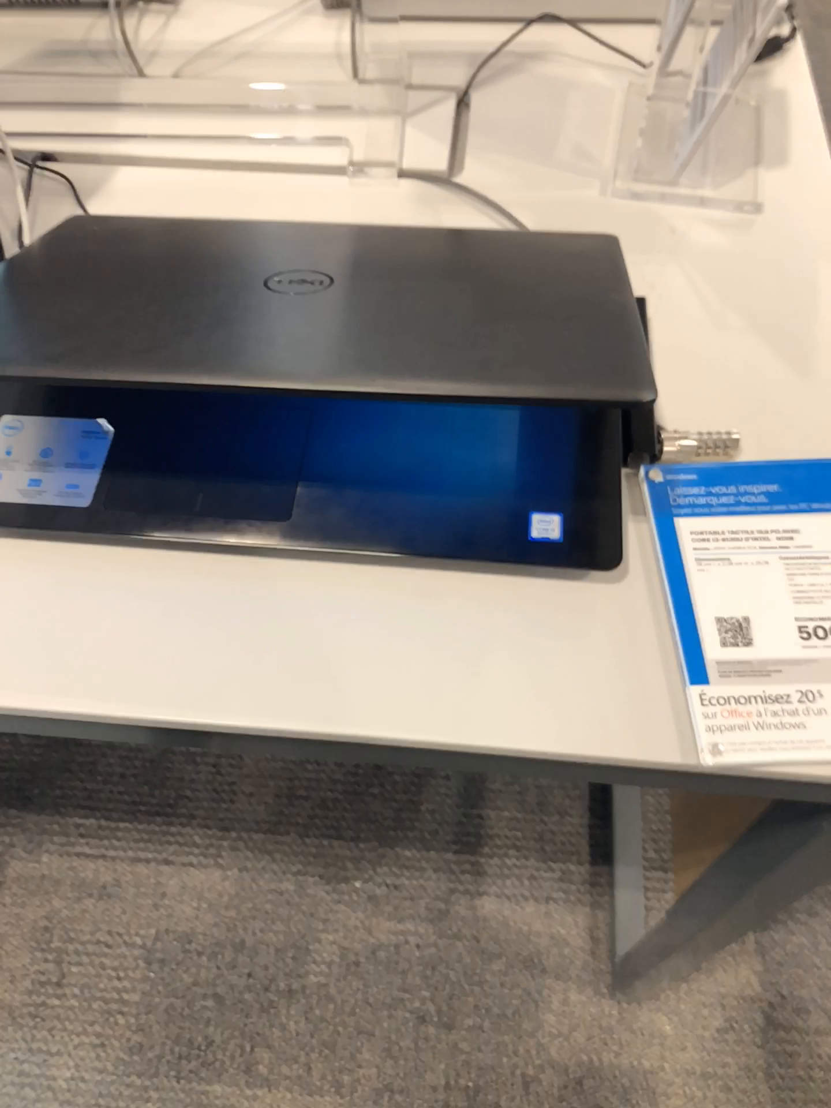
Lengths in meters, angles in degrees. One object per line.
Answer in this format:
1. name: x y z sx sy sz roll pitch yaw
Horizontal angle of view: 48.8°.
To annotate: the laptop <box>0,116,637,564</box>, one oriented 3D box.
1. laptop: -0.066 -0.132 0.521 0.365 0.080 0.245 5 58 4
